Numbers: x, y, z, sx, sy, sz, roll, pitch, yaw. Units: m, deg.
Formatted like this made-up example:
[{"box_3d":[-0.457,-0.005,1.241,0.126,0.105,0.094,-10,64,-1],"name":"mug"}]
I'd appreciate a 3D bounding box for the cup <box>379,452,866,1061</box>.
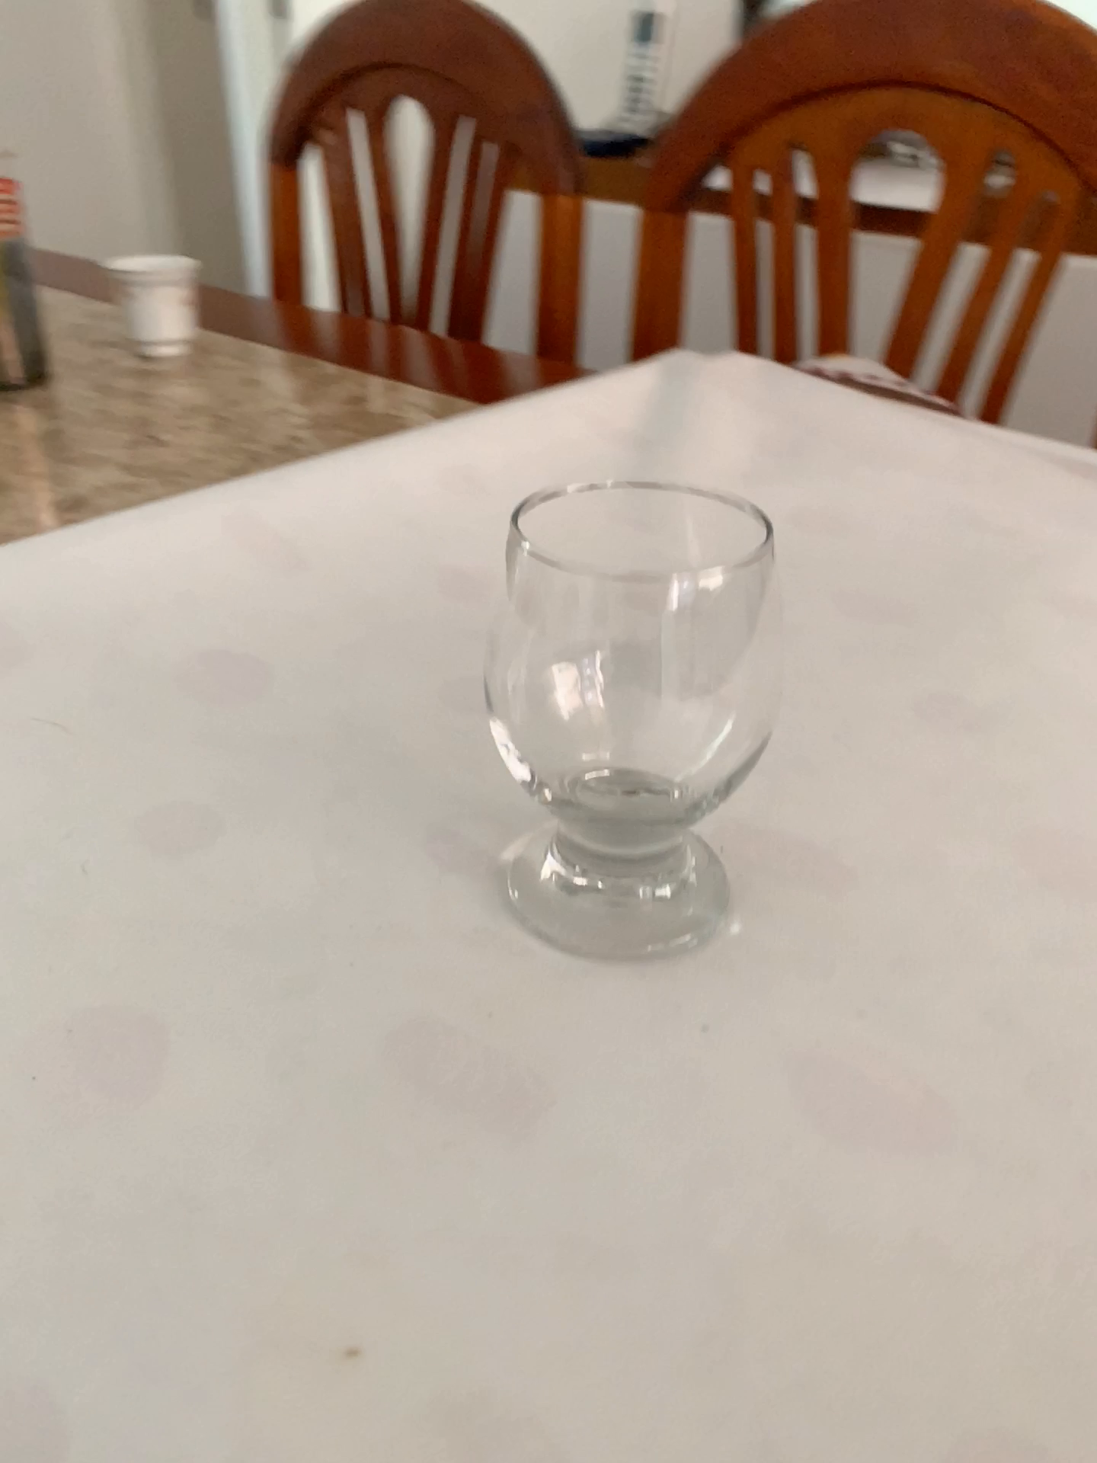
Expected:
[{"box_3d":[0.017,0.001,0.292,0.080,0.112,0.080,1,31,0],"name":"cup"}]
